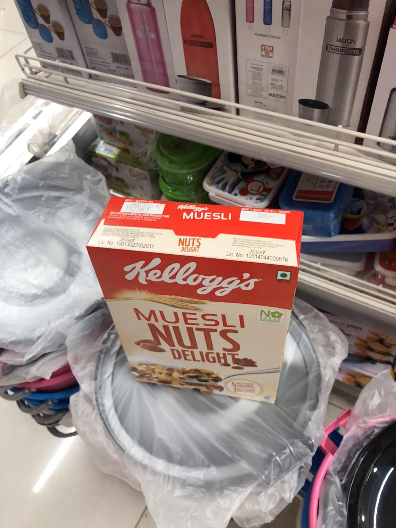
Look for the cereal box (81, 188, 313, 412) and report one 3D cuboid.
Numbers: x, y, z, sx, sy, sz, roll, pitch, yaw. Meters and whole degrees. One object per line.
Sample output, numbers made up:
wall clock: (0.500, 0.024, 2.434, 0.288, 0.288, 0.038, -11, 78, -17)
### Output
cereal box: (0.006, 0.053, 0.477, 0.190, 0.259, 0.070, 8, 49, 10)
